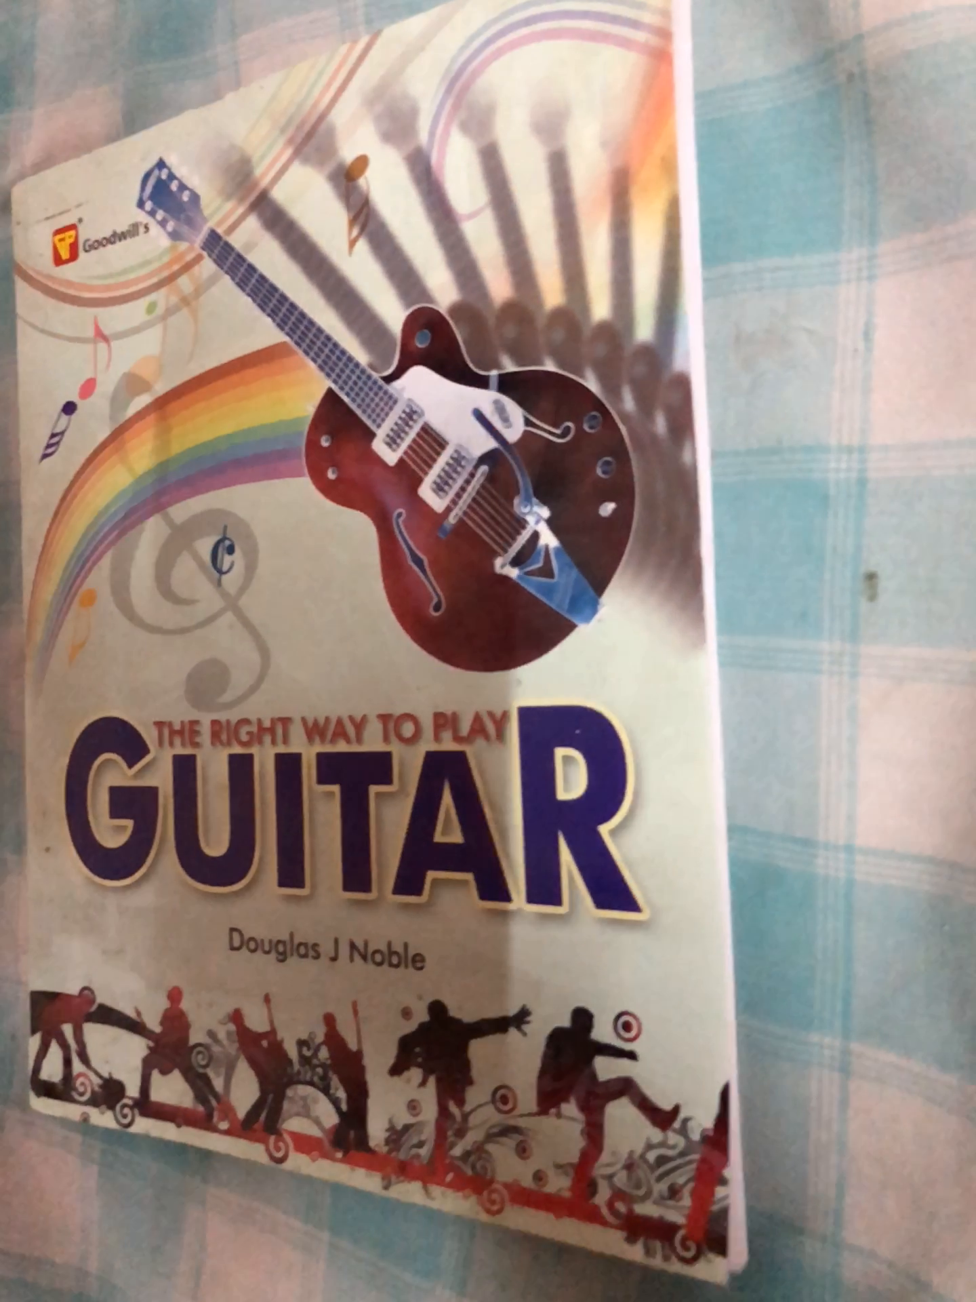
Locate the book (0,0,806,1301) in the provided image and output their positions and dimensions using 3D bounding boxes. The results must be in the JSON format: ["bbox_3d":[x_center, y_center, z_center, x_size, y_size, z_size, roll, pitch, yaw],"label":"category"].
[{"bbox_3d":[-0.033,-0.011,0.228,0.180,0.030,0.240,-3,87,30],"label":"book"}]
